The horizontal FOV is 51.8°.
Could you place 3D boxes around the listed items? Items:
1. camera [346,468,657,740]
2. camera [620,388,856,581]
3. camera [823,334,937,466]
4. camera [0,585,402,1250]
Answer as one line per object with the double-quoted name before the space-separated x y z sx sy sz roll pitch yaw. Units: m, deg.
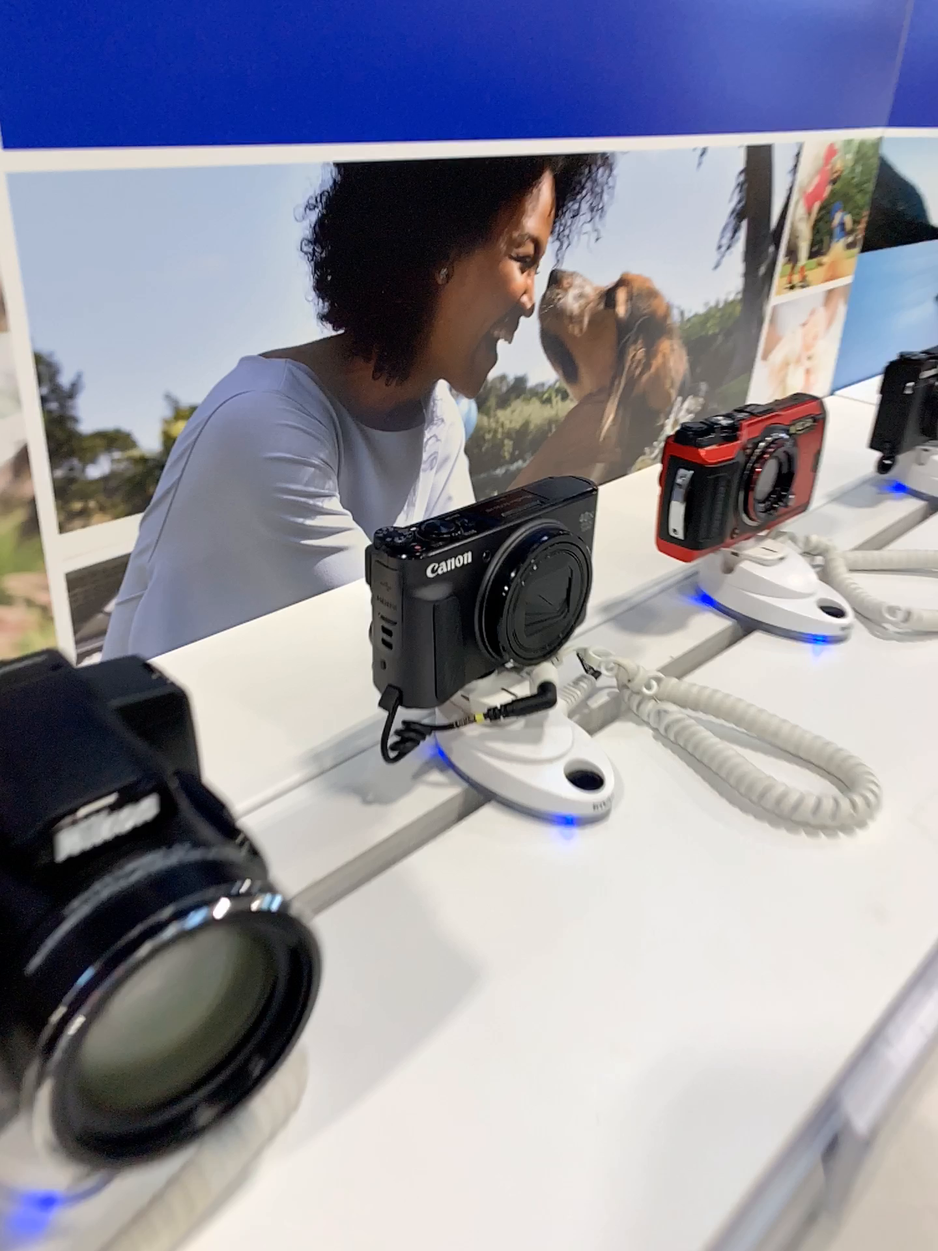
"camera" 0.015 -0.014 0.383 0.120 0.060 0.050 -25 38 -39
"camera" 0.142 -0.078 0.504 0.130 0.060 0.050 -25 38 -39
"camera" 0.297 -0.156 0.657 0.110 0.060 0.050 -25 38 -39
"camera" -0.096 0.064 0.207 0.120 0.080 0.110 -25 38 -39
